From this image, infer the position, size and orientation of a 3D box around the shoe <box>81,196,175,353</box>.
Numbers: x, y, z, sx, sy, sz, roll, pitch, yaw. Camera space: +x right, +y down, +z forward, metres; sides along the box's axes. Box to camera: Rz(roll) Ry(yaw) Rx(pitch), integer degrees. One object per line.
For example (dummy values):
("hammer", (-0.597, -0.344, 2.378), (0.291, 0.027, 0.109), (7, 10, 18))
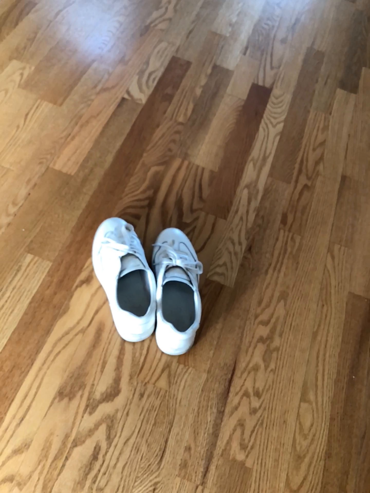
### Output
("shoe", (-0.114, 0.048, 0.771), (0.102, 0.104, 0.260), (-13, 65, -16))

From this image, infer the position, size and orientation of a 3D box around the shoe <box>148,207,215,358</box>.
("shoe", (-0.013, 0.066, 0.776), (0.102, 0.106, 0.261), (3, 61, -8))
